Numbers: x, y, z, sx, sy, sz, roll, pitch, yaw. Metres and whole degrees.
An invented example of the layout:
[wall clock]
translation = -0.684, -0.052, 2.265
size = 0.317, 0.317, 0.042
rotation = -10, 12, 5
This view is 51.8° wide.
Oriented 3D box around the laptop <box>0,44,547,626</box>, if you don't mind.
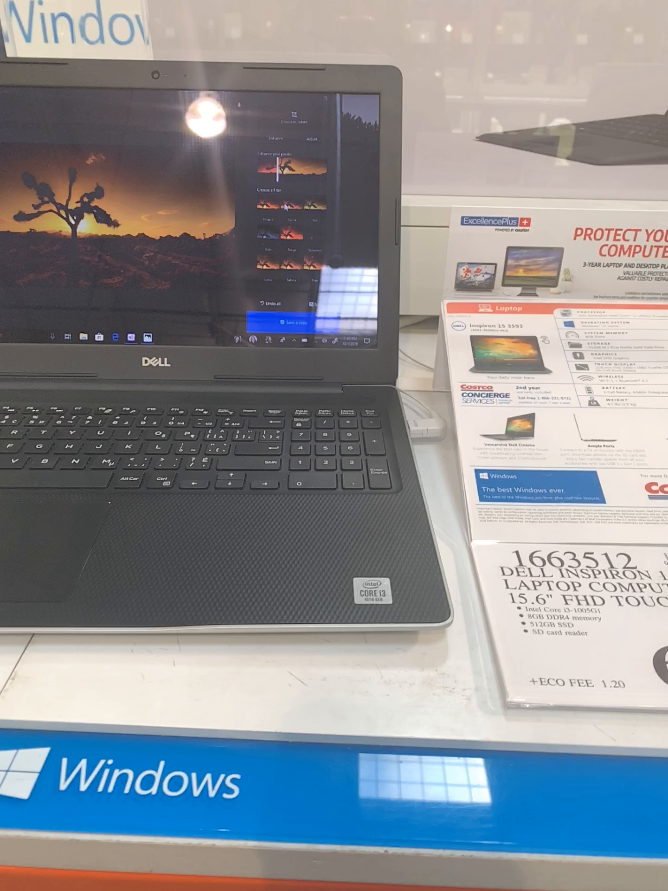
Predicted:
[laptop]
translation = -0.125, -0.099, 0.390
size = 0.357, 0.205, 0.343
rotation = 1, 30, -3
